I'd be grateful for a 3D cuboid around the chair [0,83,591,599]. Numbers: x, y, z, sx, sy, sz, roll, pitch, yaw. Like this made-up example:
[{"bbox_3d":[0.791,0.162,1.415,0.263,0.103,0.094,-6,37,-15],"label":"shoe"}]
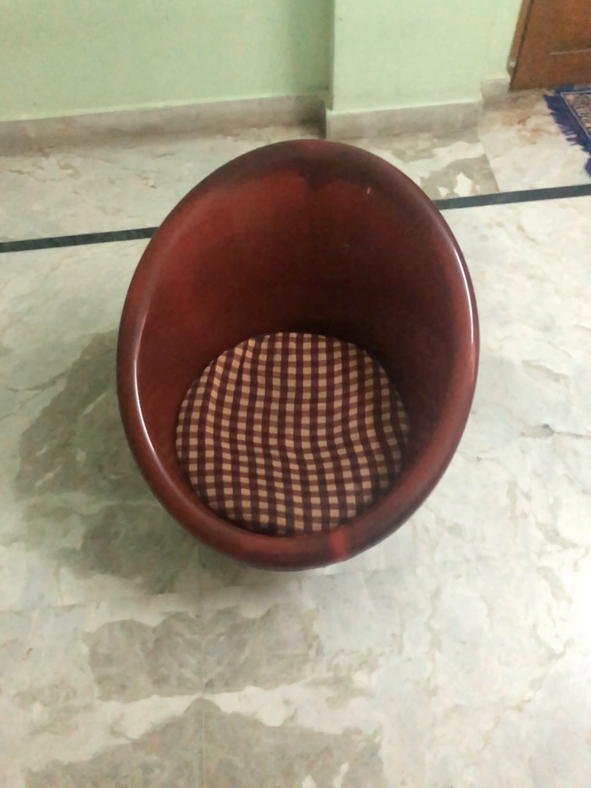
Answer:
[{"bbox_3d":[0.006,-0.077,1.092,0.670,0.547,0.633,3,57,4],"label":"chair"}]
